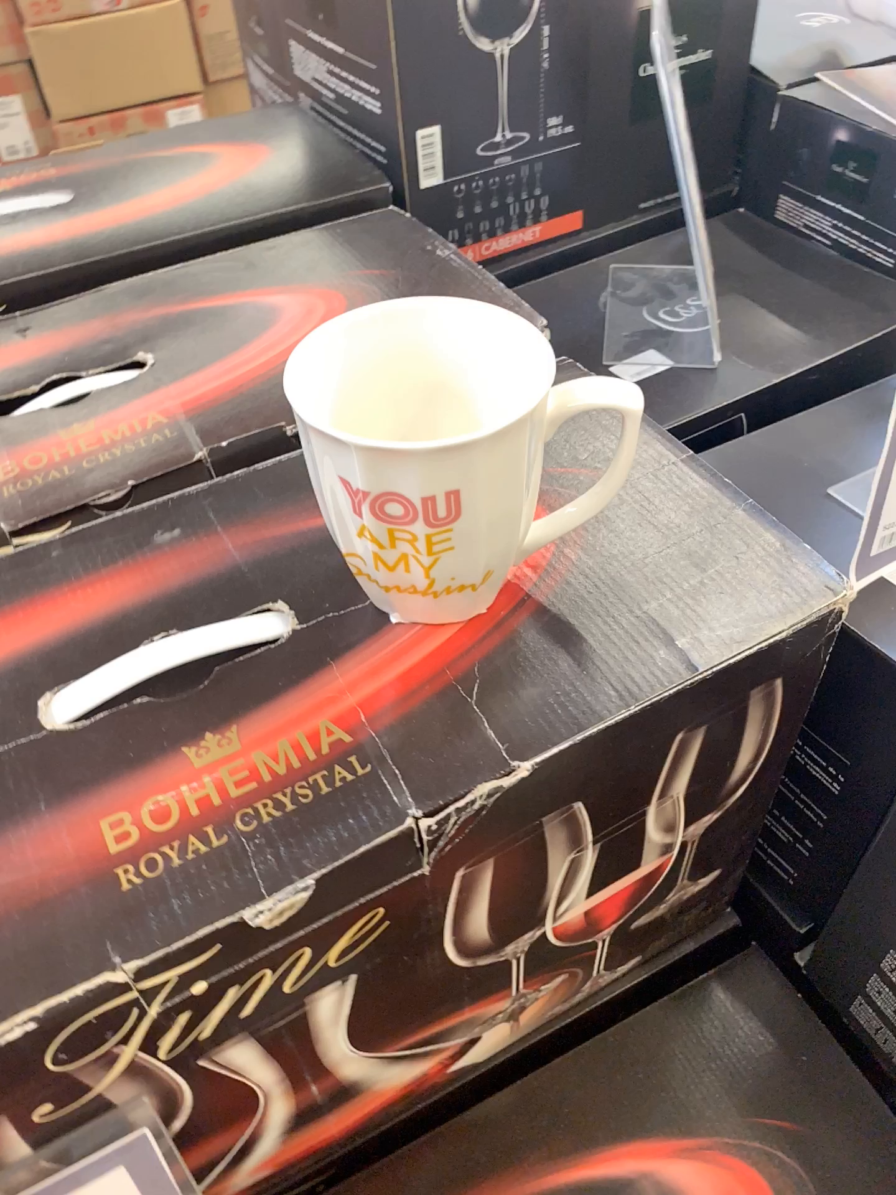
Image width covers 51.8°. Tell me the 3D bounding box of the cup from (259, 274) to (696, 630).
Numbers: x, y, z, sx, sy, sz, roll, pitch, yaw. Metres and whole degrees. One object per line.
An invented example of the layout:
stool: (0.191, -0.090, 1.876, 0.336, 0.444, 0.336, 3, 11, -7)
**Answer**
cup: (0.011, -0.050, 0.314, 0.120, 0.080, 0.090, 1, 46, 4)
